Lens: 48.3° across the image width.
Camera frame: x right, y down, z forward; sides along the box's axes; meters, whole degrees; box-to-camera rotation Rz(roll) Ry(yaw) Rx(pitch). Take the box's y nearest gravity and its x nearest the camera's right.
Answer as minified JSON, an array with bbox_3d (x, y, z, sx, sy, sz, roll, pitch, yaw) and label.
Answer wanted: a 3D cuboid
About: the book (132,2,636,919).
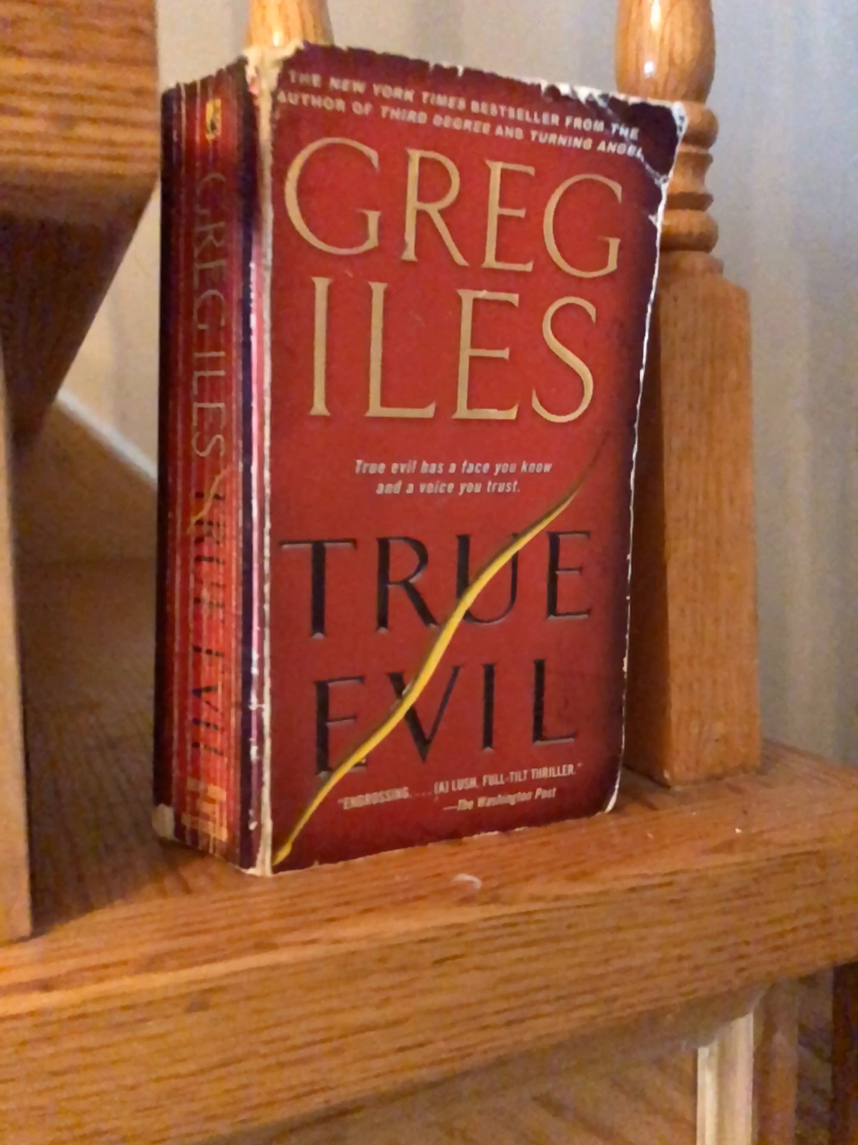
[{"bbox_3d":[-0.012,-0.028,0.270,0.120,0.205,0.068,-4,6,-23],"label":"book"}]
